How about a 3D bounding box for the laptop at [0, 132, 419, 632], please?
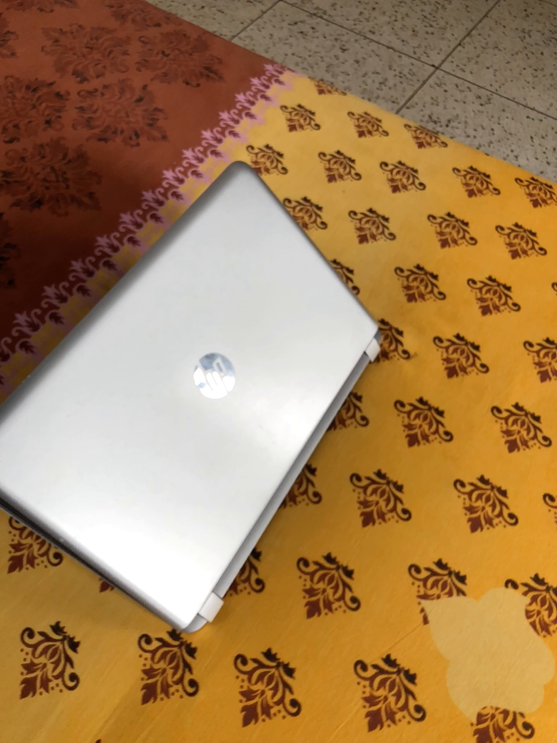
[{"bbox_3d":[-0.073,-0.007,0.590,0.249,0.155,0.373,29,63,12],"label":"laptop"}]
